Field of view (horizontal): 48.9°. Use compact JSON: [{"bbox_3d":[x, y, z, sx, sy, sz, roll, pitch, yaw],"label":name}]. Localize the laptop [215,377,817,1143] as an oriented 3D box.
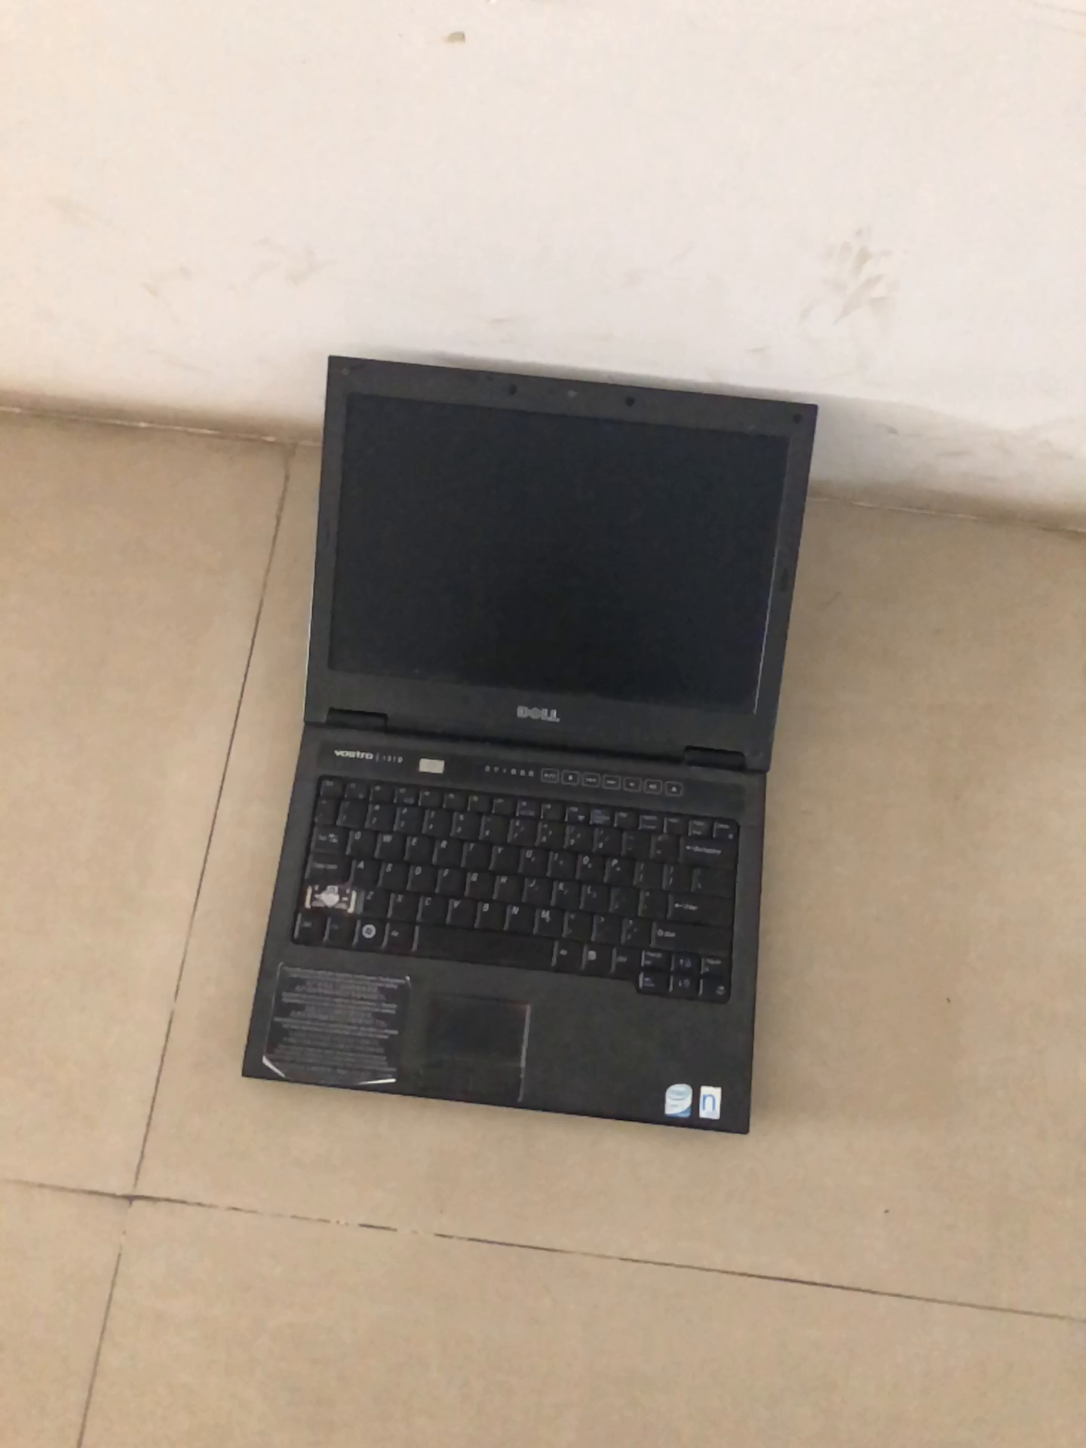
[{"bbox_3d":[-0.001,0.014,0.742,0.299,0.114,0.433,6,72,2],"label":"laptop"}]
